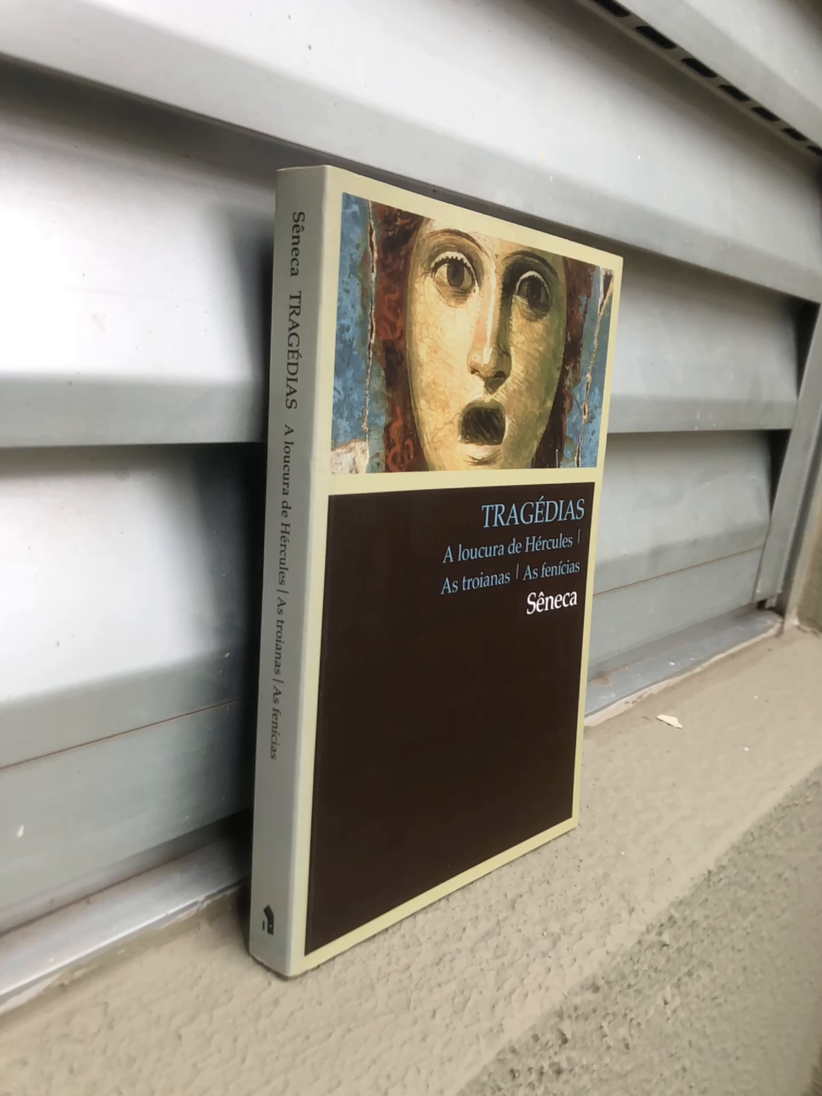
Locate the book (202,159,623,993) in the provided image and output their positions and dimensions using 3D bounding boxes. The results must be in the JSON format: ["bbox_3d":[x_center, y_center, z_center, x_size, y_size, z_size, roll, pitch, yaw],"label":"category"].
[{"bbox_3d":[0.007,0.004,0.273,0.026,0.197,0.145,9,11,44],"label":"book"}]
